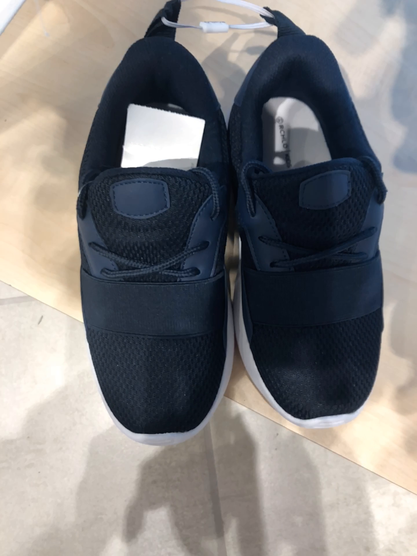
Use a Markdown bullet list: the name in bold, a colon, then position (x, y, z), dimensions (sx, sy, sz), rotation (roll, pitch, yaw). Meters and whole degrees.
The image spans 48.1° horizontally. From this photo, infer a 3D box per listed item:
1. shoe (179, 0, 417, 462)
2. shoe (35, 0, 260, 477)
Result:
- **shoe**: position (0.048, -0.040, 0.259), dimensions (0.100, 0.100, 0.240), rotation (-7, 78, -3)
- **shoe**: position (-0.026, -0.028, 0.261), dimensions (0.090, 0.100, 0.240), rotation (0, 78, -2)
